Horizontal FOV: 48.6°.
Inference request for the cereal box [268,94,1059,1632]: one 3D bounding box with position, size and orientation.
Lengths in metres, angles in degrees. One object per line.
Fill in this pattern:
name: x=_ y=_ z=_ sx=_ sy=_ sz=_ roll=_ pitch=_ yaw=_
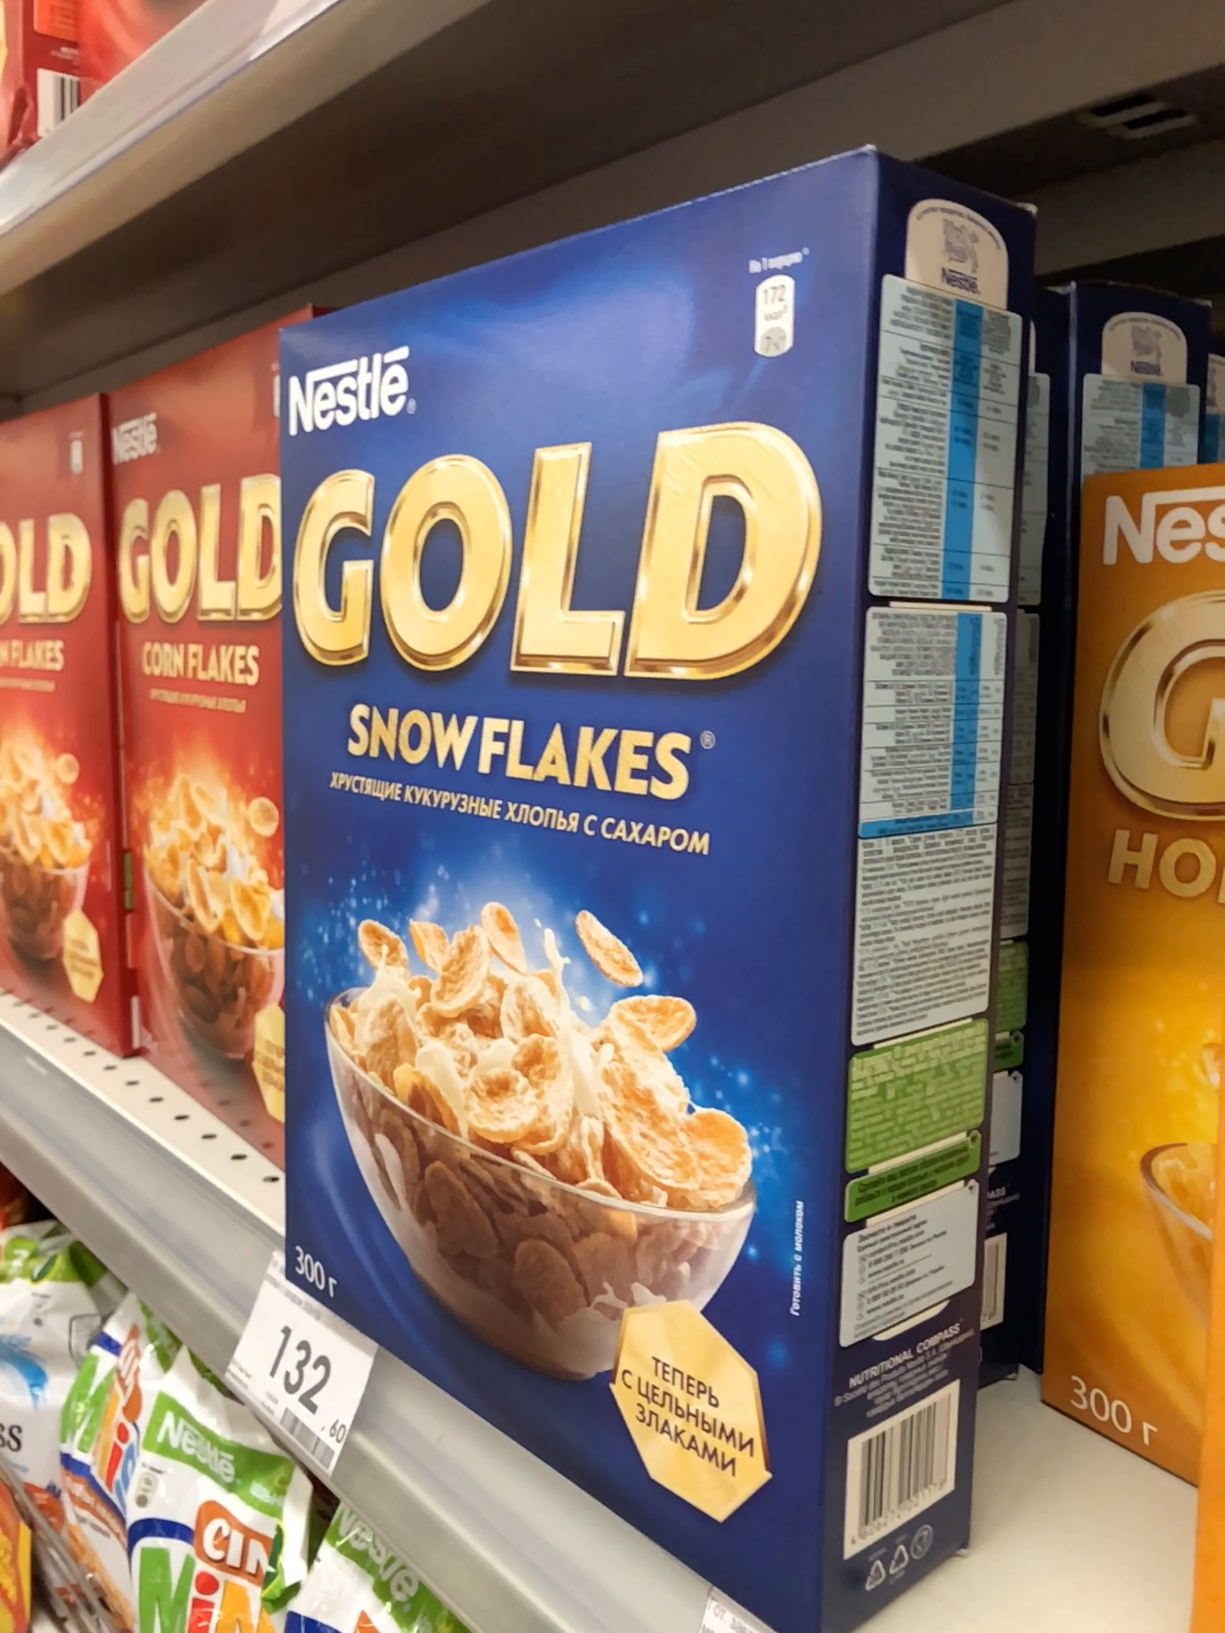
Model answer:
cereal box: x=-0.008 y=0.011 z=0.313 sx=0.050 sy=0.269 sz=0.200 roll=-4 pitch=8 yaw=-41
